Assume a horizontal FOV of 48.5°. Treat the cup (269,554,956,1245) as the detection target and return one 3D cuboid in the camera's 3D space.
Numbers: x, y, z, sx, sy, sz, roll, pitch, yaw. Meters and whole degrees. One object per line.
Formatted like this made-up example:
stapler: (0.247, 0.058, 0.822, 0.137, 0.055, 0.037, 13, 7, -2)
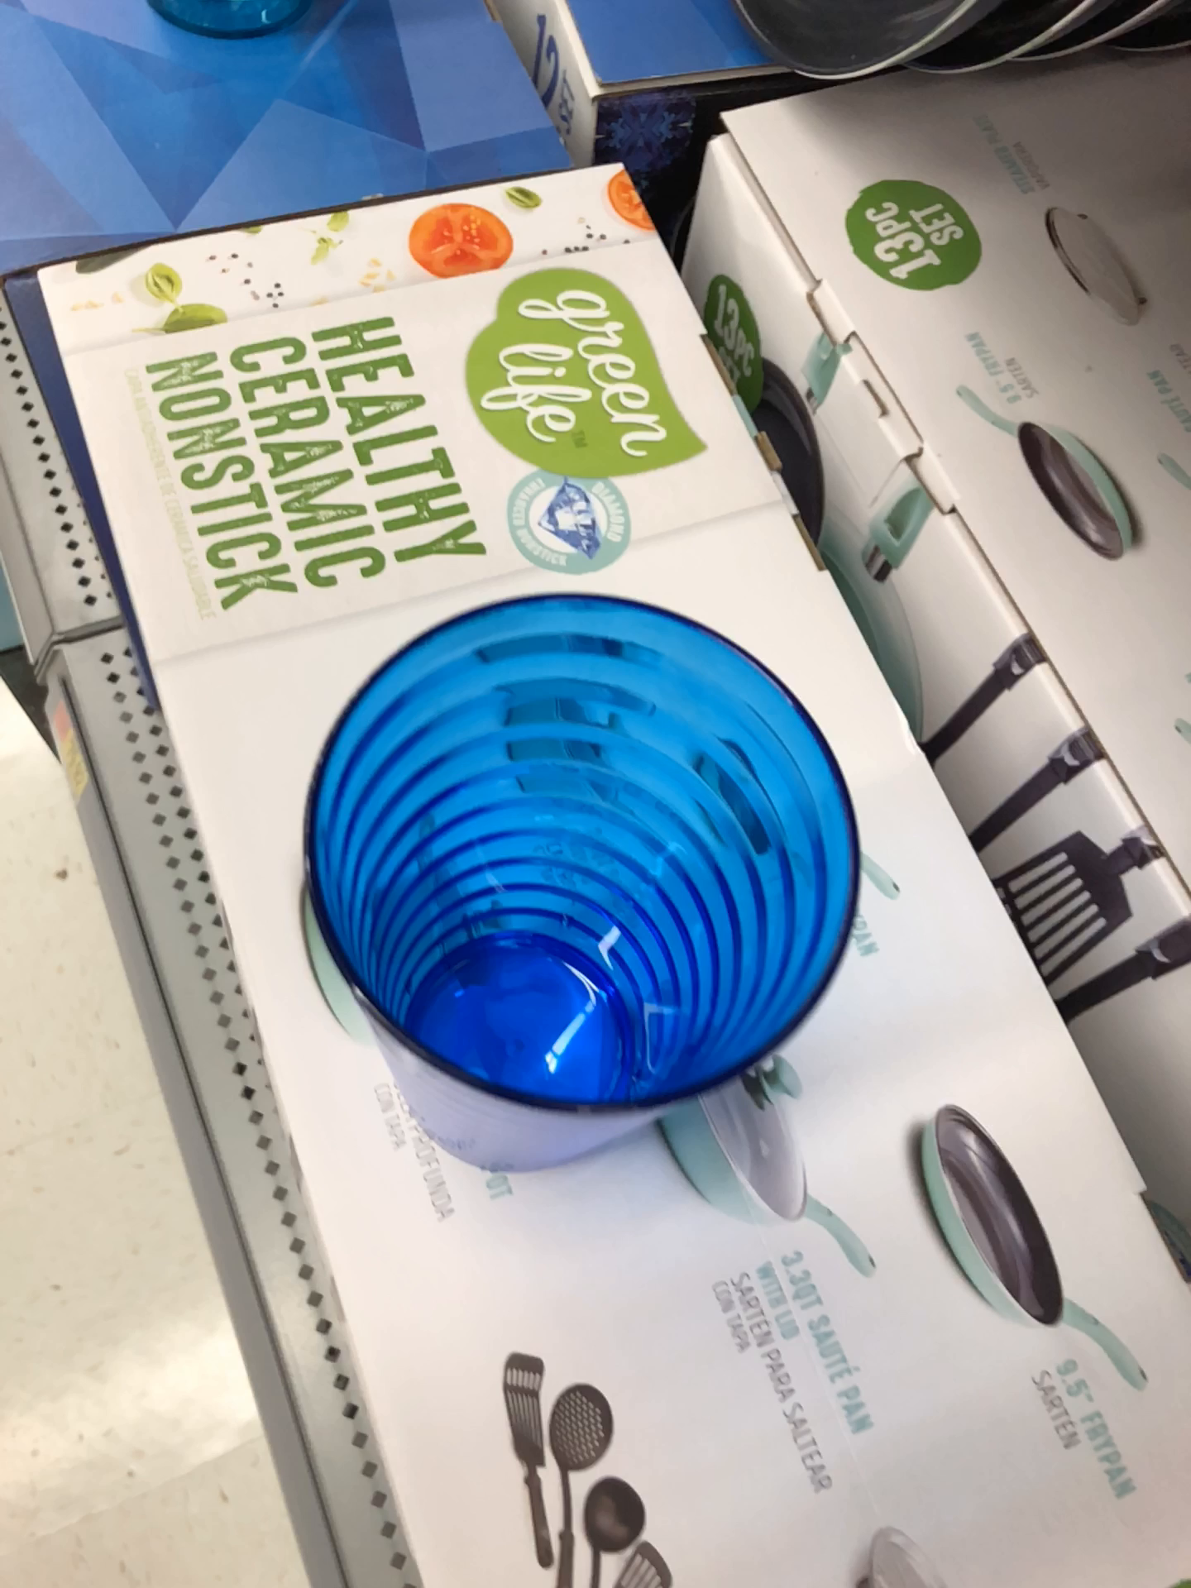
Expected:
cup: (-0.007, 0.031, 0.260, 0.091, 0.134, 0.087, 2, 66, -6)
